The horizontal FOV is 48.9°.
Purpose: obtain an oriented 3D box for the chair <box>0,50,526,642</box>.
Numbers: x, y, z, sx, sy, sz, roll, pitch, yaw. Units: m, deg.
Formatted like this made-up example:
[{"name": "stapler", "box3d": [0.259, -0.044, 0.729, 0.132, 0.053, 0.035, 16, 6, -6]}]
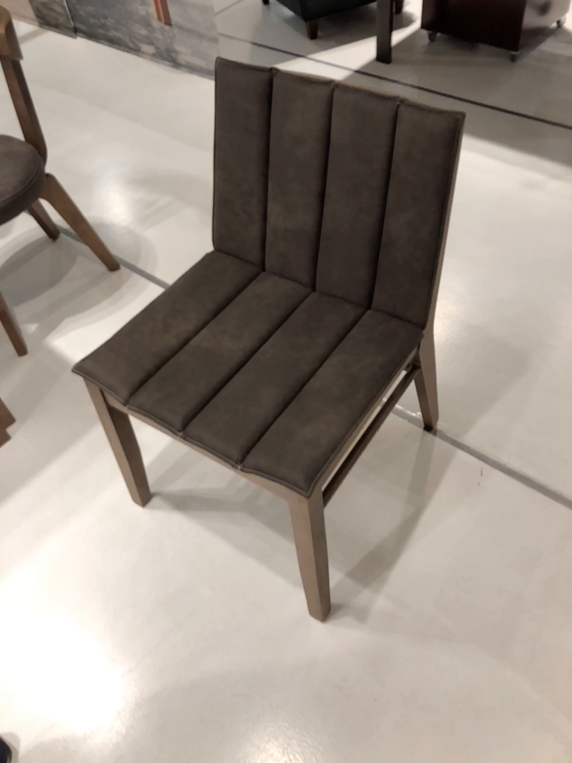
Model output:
[{"name": "chair", "box3d": [-0.004, -0.049, 1.158, 0.541, 0.775, 0.572, 25, 57, 26]}]
